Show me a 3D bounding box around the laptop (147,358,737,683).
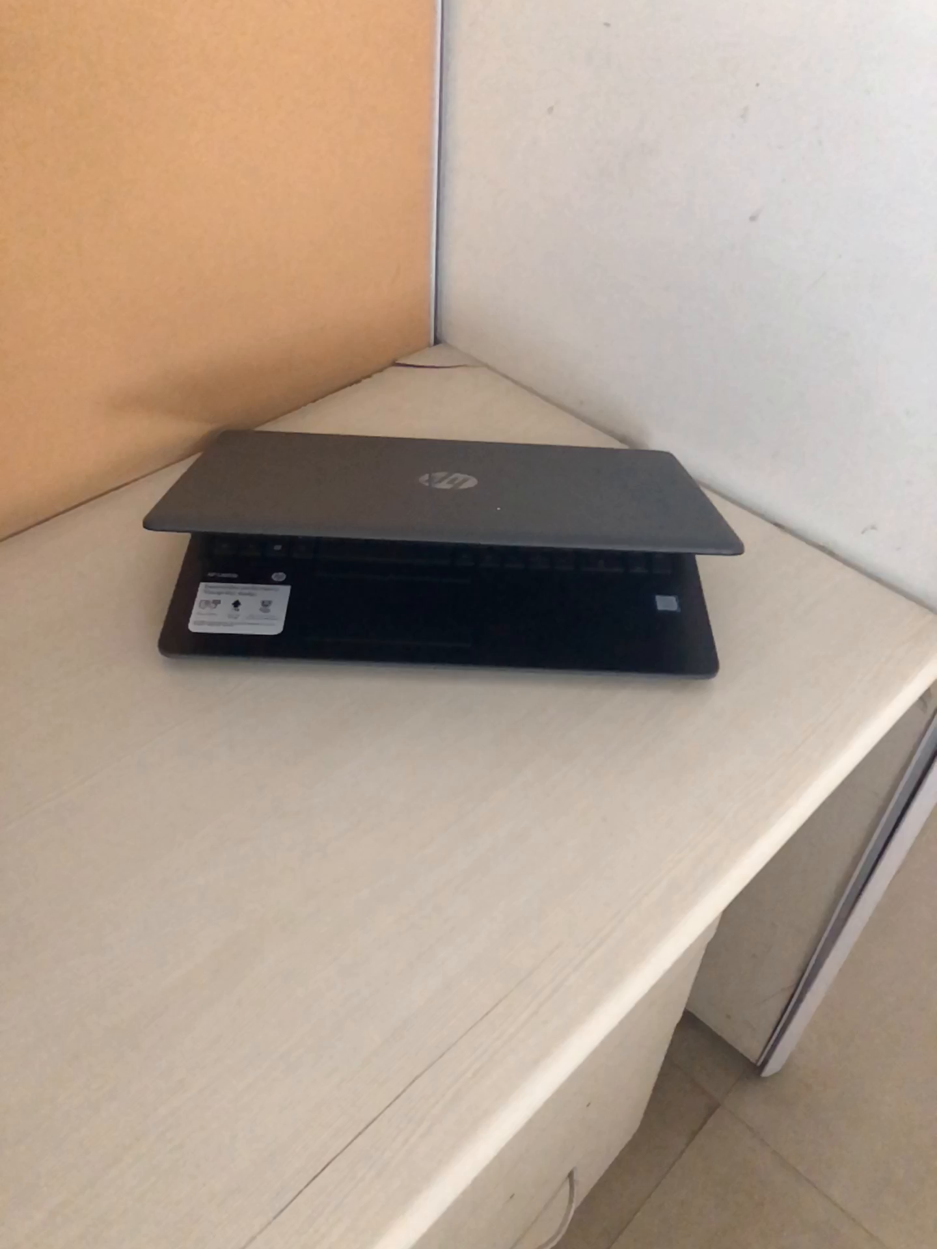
[{"bbox_3d":[-0.017,-0.083,0.740,0.361,0.074,0.239,2,46,-1],"label":"laptop"}]
